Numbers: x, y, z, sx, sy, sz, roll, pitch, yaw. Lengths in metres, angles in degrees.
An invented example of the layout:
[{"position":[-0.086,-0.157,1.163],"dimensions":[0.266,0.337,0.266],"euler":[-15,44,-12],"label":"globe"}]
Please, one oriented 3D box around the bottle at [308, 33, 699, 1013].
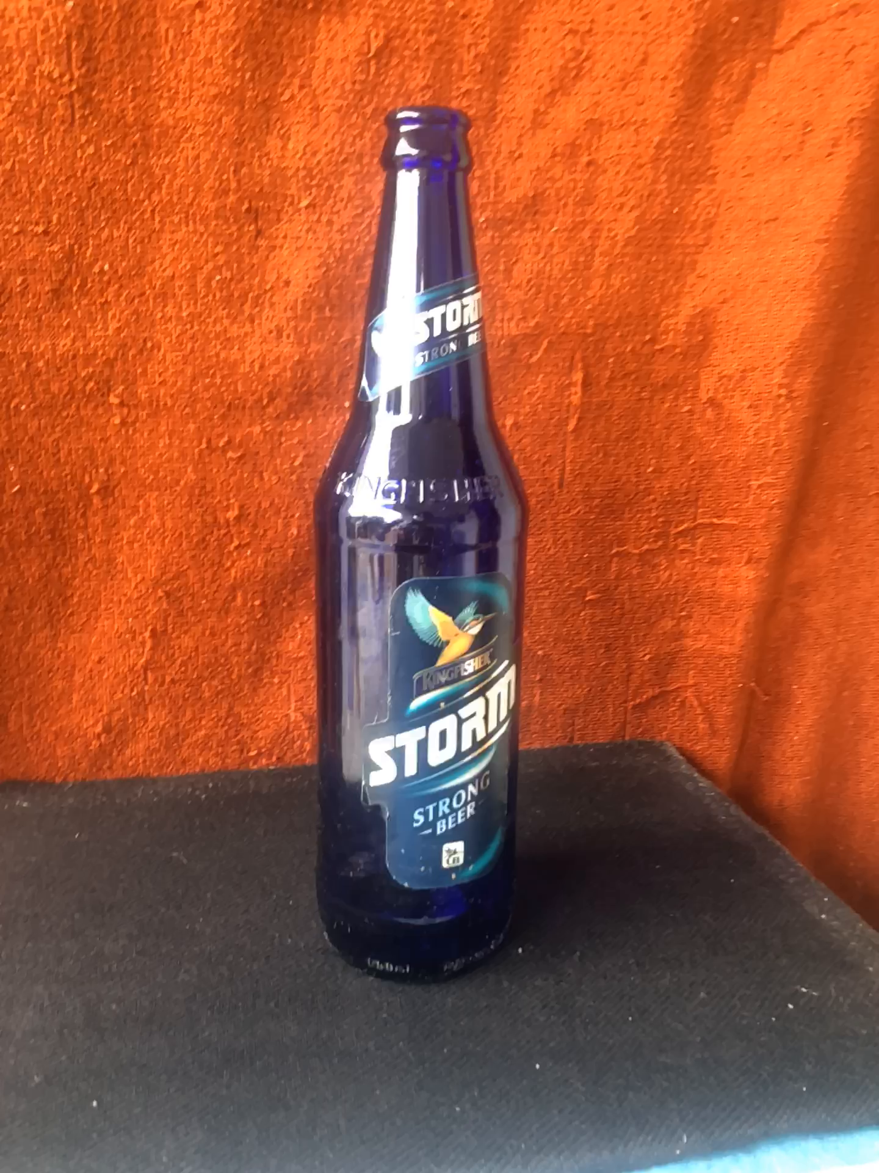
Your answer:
[{"position":[0.010,-0.012,0.321],"dimensions":[0.080,0.279,0.080],"euler":[3,16,-1],"label":"bottle"}]
